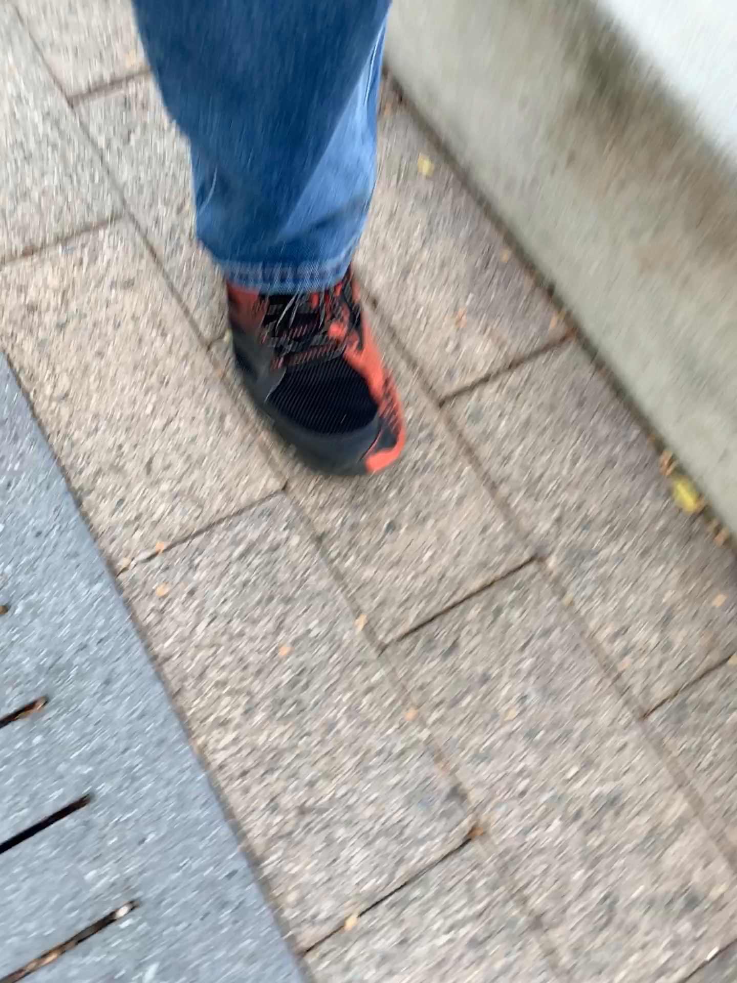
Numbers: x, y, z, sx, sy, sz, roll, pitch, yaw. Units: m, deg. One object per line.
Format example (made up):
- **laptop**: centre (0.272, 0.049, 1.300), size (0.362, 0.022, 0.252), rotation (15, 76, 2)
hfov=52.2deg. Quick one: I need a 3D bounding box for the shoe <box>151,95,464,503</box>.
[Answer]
- **shoe**: centre (-0.056, -0.162, 0.611), size (0.136, 0.080, 0.306), rotation (-20, 73, -12)
